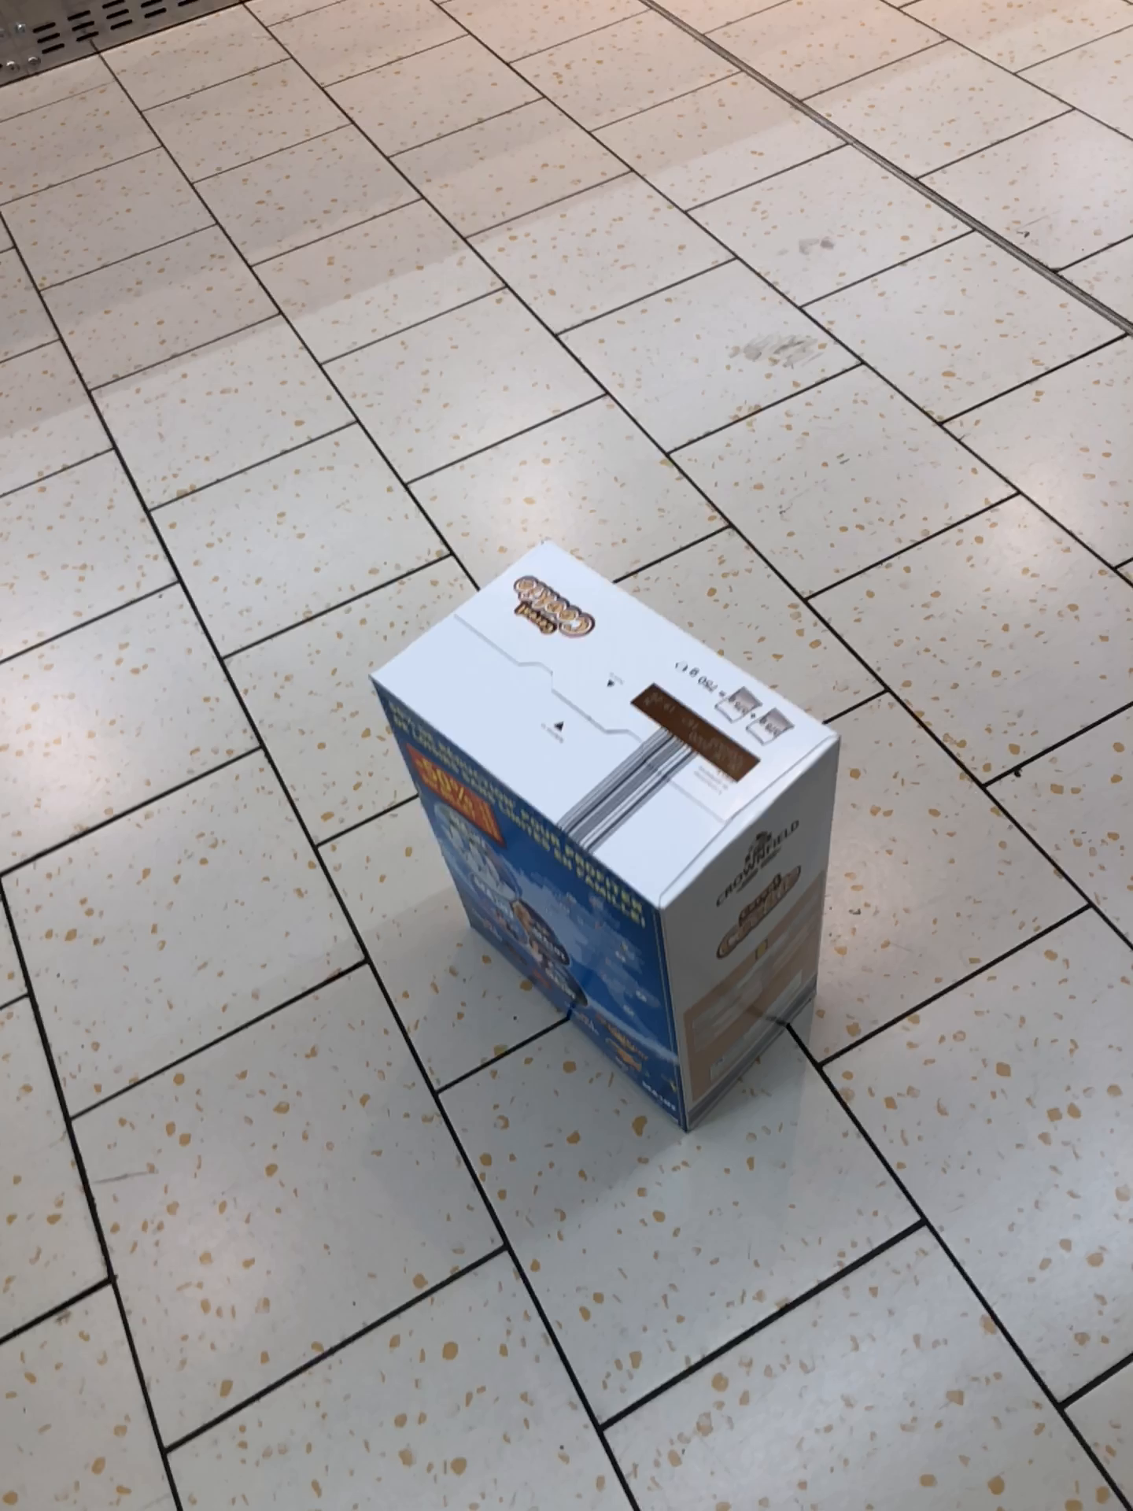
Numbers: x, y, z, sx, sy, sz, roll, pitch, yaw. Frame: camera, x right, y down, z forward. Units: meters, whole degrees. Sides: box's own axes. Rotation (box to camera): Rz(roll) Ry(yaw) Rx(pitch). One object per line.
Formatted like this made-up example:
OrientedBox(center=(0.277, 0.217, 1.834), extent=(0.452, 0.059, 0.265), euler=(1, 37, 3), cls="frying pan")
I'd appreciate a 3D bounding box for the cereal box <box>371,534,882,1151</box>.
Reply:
OrientedBox(center=(0.035, 0.053, 0.649), extent=(0.120, 0.249, 0.200), euler=(-40, 58, -20), cls="cereal box")
